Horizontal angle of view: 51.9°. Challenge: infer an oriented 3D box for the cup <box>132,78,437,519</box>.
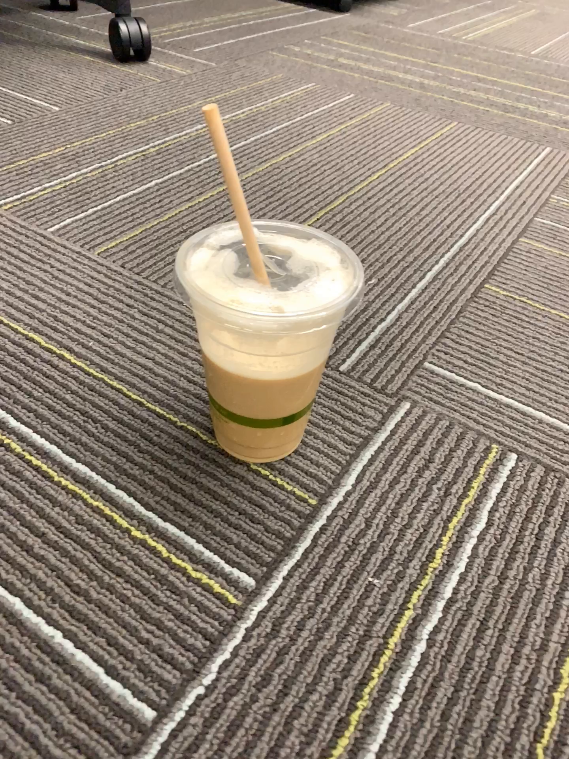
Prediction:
[{"bbox_3d":[-0.008,-0.037,0.303,0.090,0.189,0.090,3,41,-3],"label":"cup"}]
